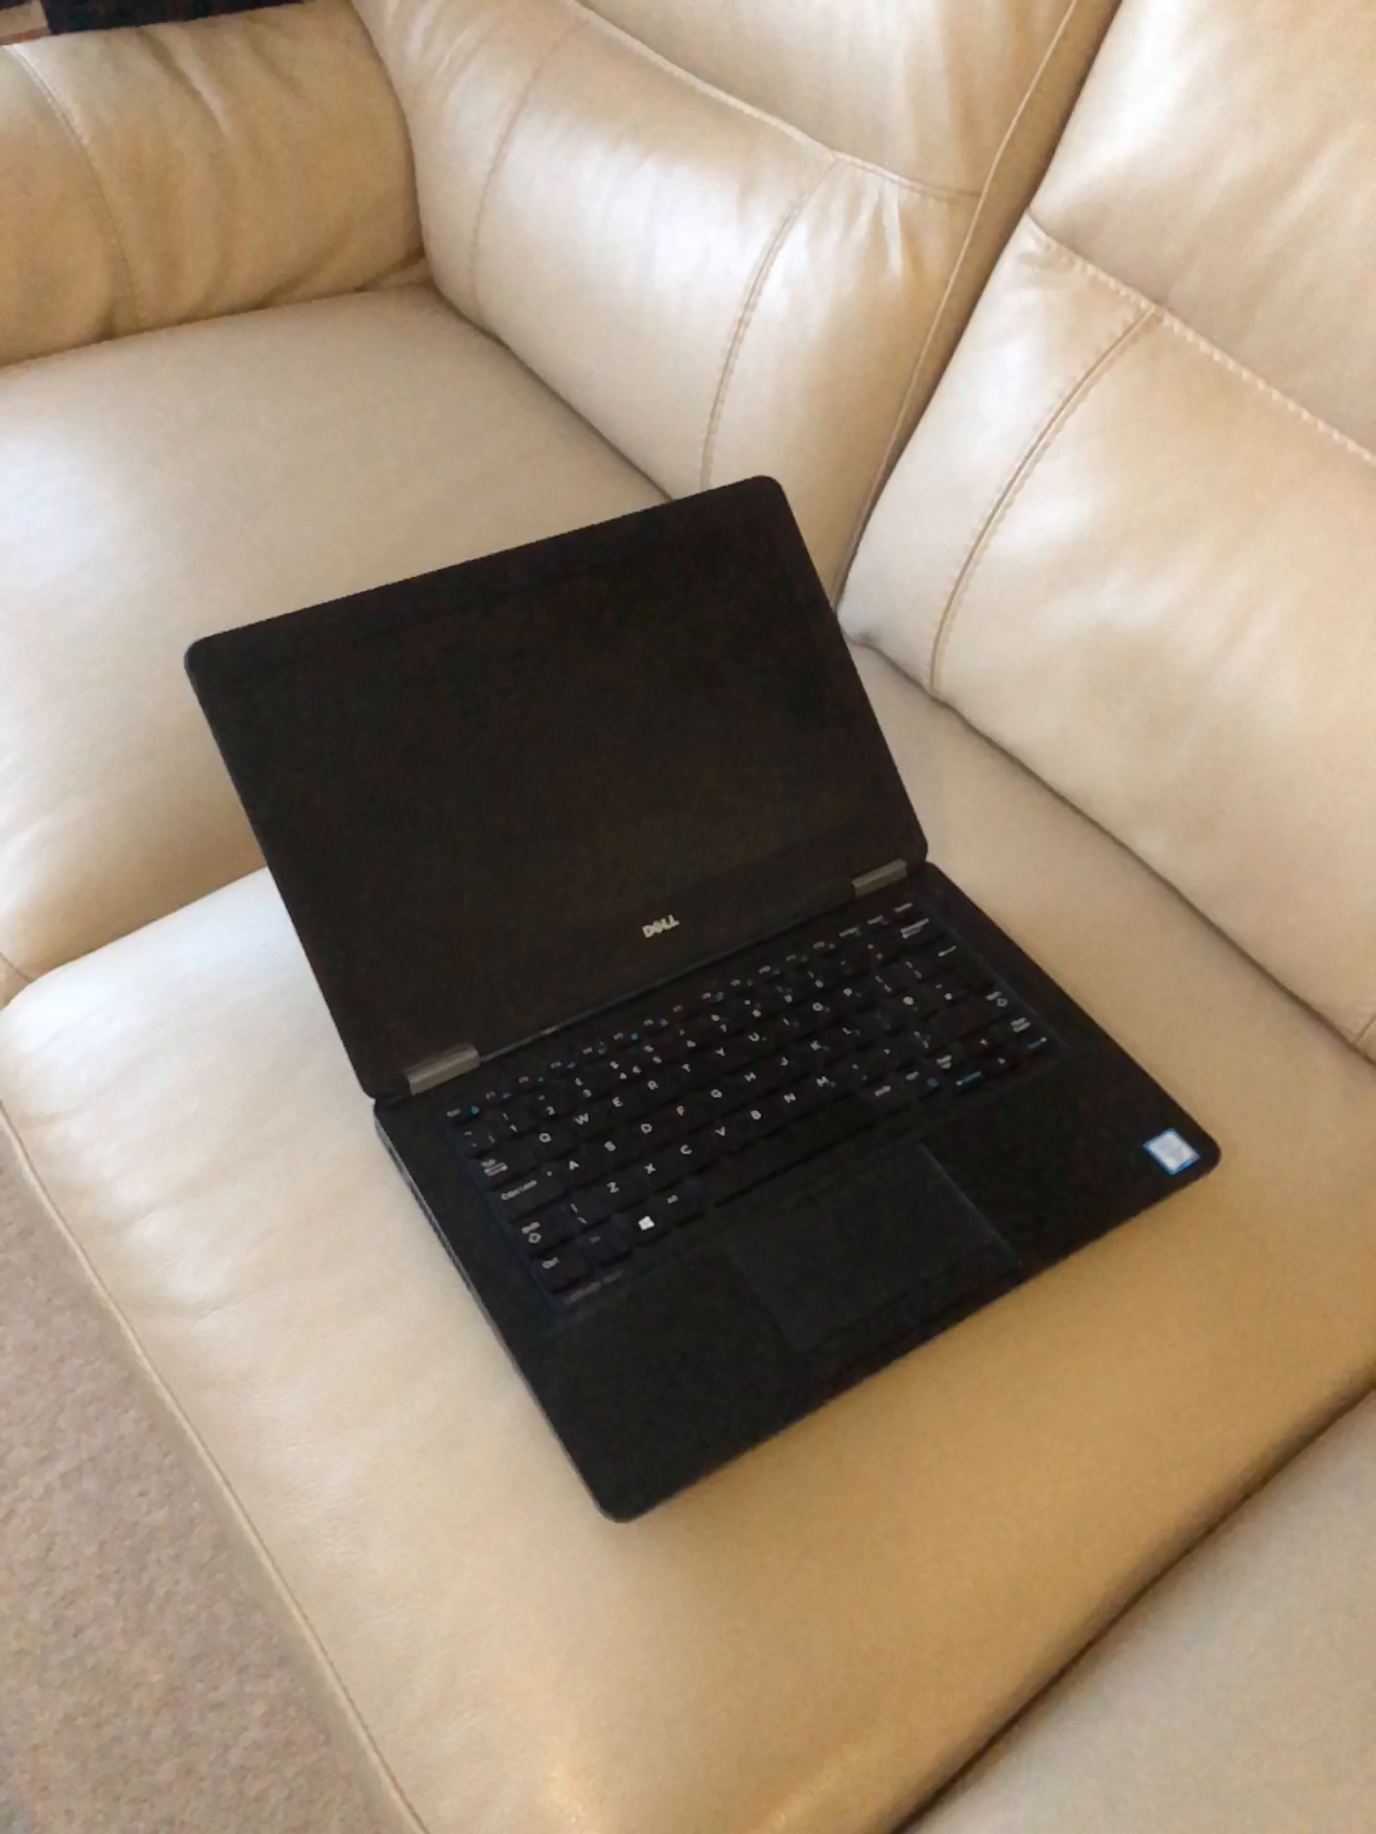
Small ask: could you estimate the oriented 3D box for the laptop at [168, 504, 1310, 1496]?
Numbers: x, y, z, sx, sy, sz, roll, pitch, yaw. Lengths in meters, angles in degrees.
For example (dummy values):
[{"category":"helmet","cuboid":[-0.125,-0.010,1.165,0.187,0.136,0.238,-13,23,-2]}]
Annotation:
[{"category":"laptop","cuboid":[0.001,-0.005,0.654,0.306,0.124,0.376,-23,51,-23]}]
